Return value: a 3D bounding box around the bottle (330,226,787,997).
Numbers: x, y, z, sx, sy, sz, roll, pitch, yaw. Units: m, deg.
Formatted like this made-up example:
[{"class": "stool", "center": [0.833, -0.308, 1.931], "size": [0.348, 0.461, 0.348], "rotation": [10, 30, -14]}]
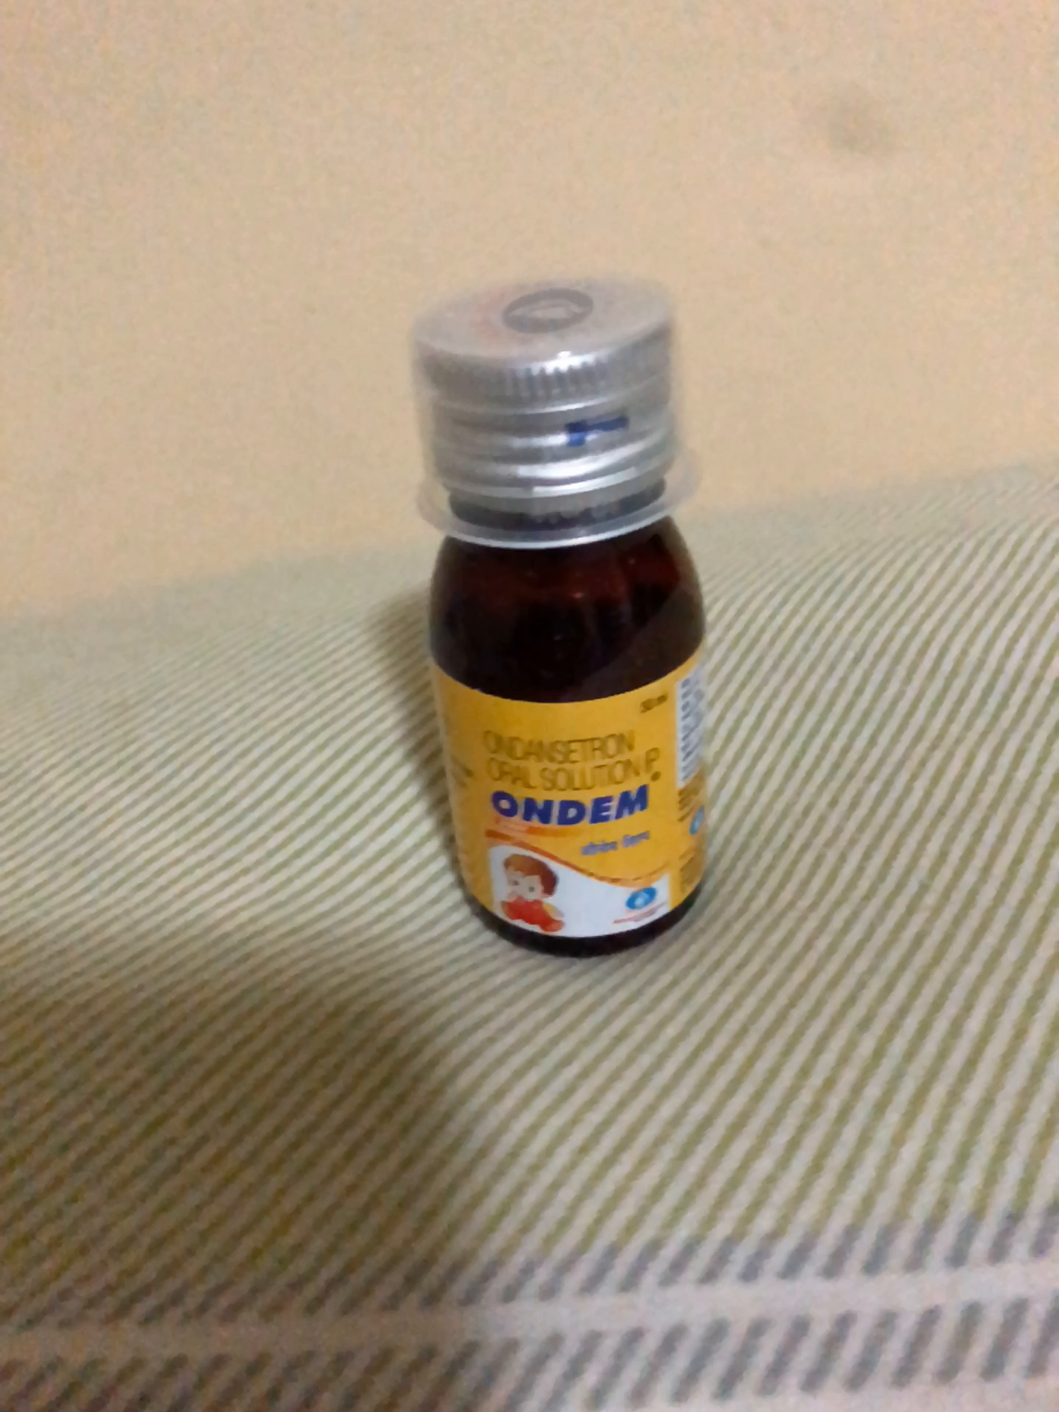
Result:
[{"class": "bottle", "center": [0.009, -0.010, 0.144], "size": [0.040, 0.080, 0.040], "rotation": [-4, 34, 3]}]
